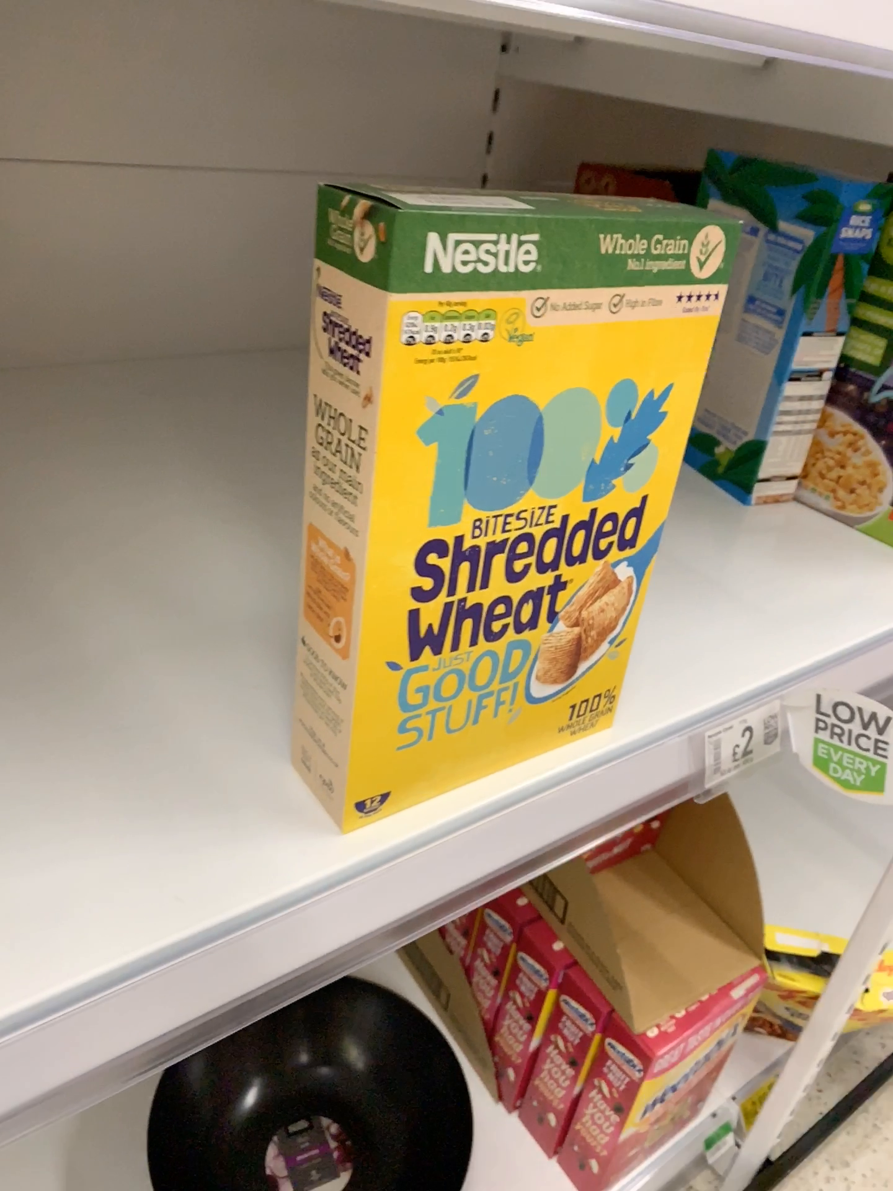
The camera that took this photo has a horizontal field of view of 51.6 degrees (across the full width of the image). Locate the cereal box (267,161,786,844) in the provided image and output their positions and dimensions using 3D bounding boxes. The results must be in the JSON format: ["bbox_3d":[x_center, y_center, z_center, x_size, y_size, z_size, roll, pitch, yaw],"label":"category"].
[{"bbox_3d":[0.029,-0.045,0.440,0.211,0.277,0.070,-14,35,-34],"label":"cereal box"}]
